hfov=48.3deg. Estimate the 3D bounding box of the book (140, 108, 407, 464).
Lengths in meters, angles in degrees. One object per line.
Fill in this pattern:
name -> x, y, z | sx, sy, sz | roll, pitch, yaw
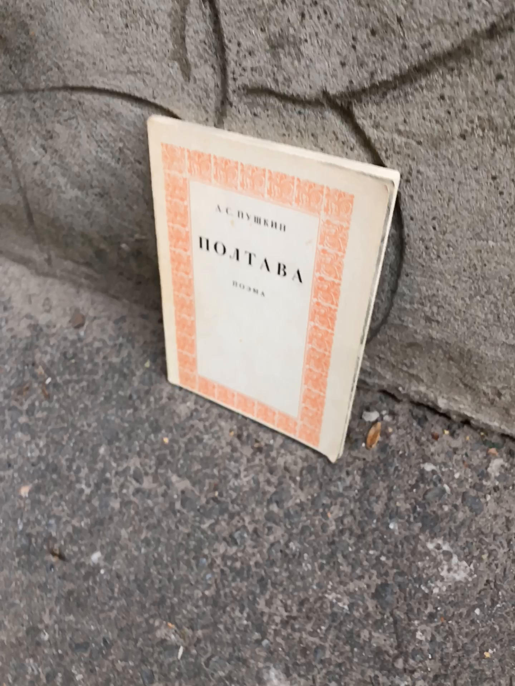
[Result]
book -> -0.001, -0.027, 0.361 | 0.150, 0.199, 0.020 | 23, 43, 23
